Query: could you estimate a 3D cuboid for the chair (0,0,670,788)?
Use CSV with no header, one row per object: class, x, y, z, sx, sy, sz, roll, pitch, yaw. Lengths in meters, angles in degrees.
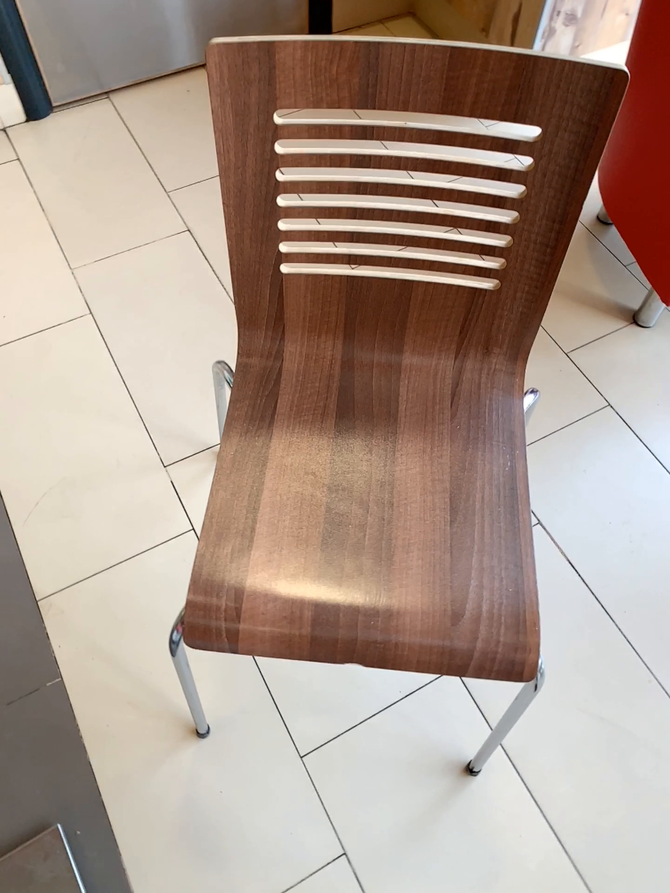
chair,0.034,0.040,0.860,0.544,0.795,0.594,7,60,2
